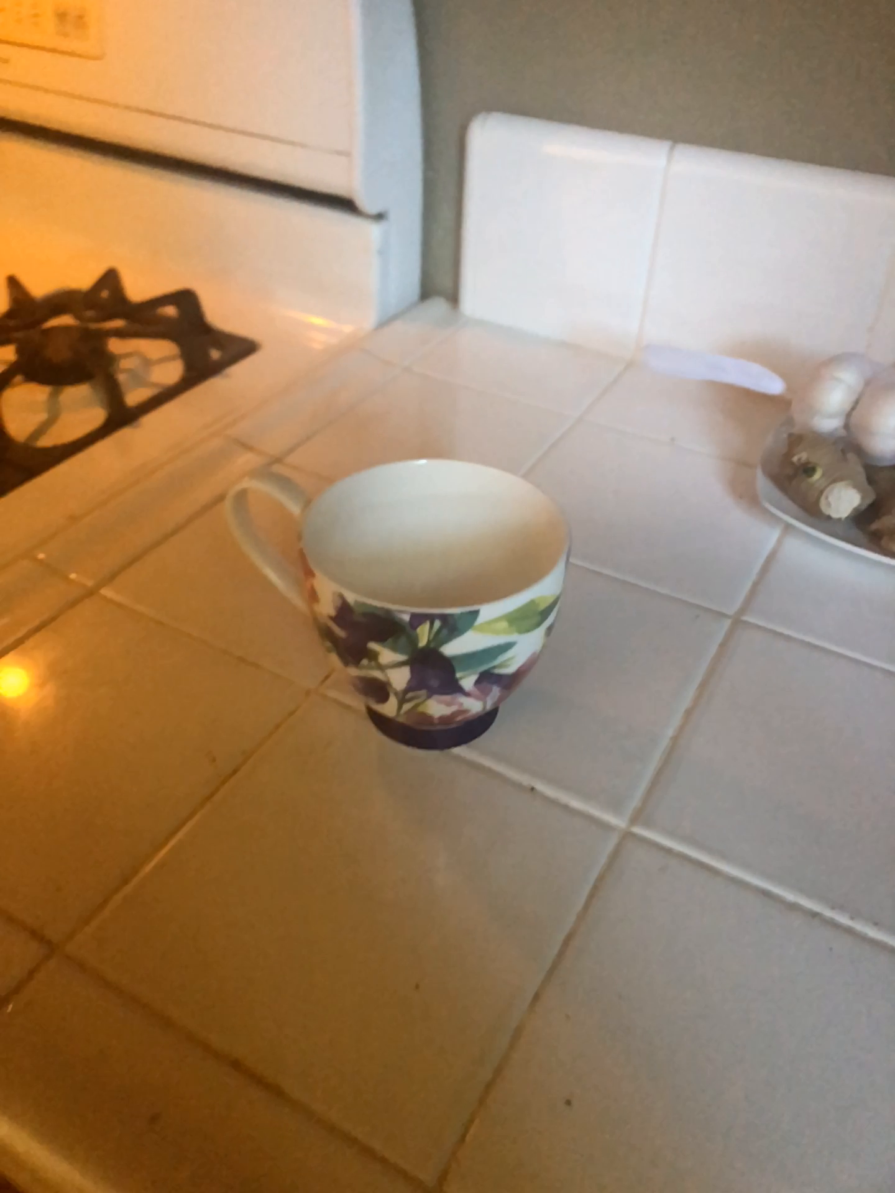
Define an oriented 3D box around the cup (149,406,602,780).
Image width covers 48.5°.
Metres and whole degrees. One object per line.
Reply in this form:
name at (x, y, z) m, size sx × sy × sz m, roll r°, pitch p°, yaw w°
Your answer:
cup at (-0.023, -0.007, 0.414) m, size 0.150 × 0.079 × 0.111 m, roll 11°, pitch 40°, yaw 11°
